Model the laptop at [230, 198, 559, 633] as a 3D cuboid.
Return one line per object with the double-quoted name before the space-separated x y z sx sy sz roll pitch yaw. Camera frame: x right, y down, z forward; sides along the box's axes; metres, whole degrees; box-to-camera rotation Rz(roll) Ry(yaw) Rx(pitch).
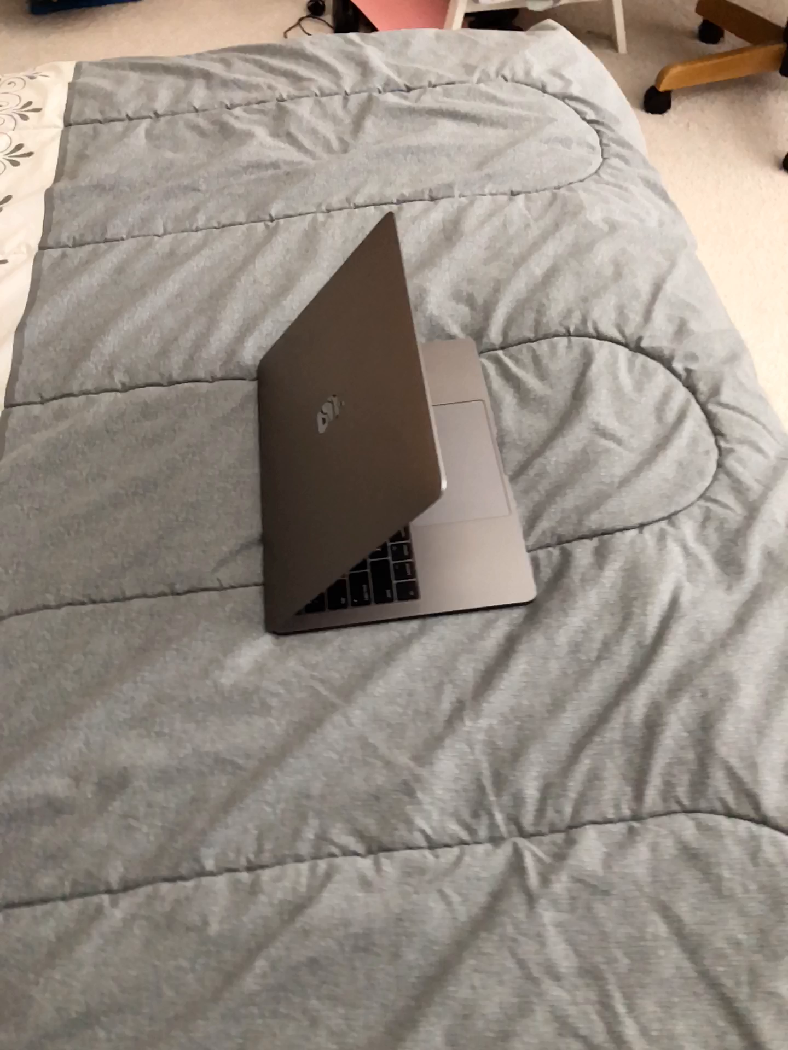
"laptop" -0.012 -0.088 0.652 0.195 0.140 0.279 -7 55 -2
